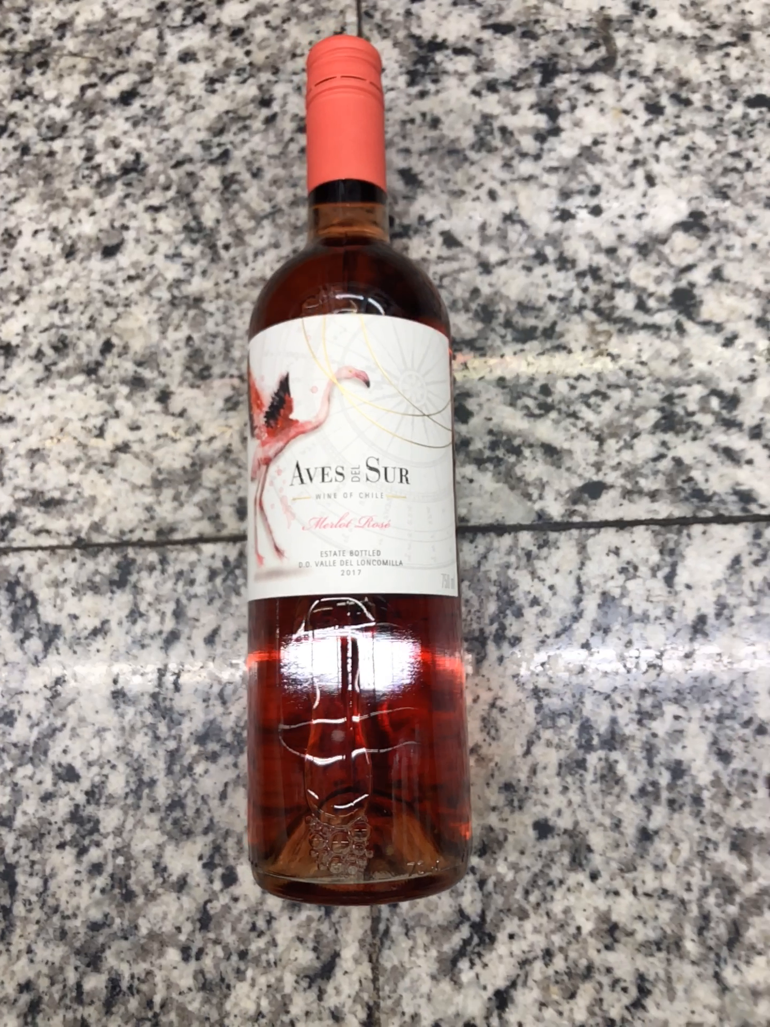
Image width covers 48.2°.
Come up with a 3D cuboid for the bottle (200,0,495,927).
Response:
[{"bbox_3d":[-0.015,-0.035,0.328,0.090,0.070,0.340,-4,79,7],"label":"bottle"}]
